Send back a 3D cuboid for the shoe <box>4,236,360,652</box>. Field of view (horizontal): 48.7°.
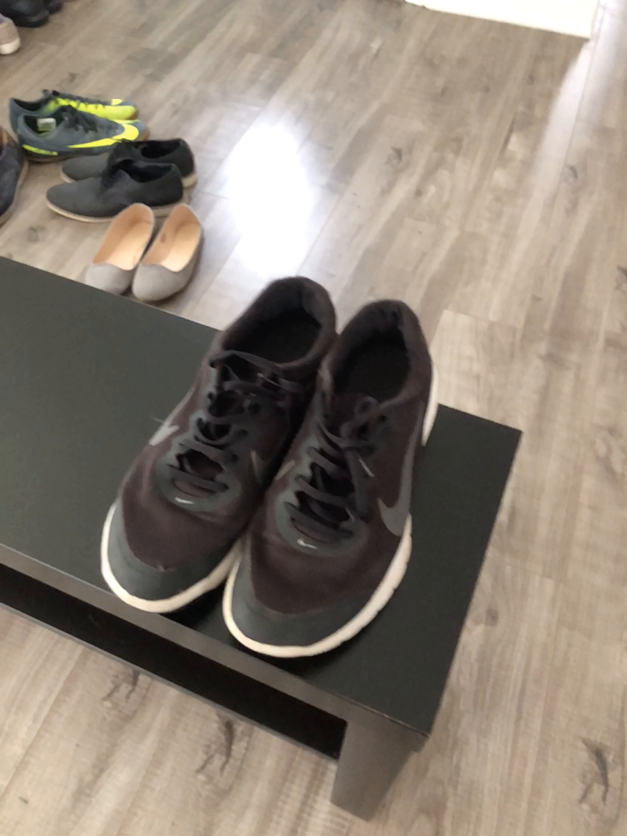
[{"bbox_3d":[-0.075,0.007,0.512,0.110,0.100,0.280,22,59,14],"label":"shoe"}]

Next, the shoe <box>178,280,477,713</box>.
[{"bbox_3d":[0.023,0.045,0.509,0.110,0.110,0.280,18,56,11],"label":"shoe"}]
